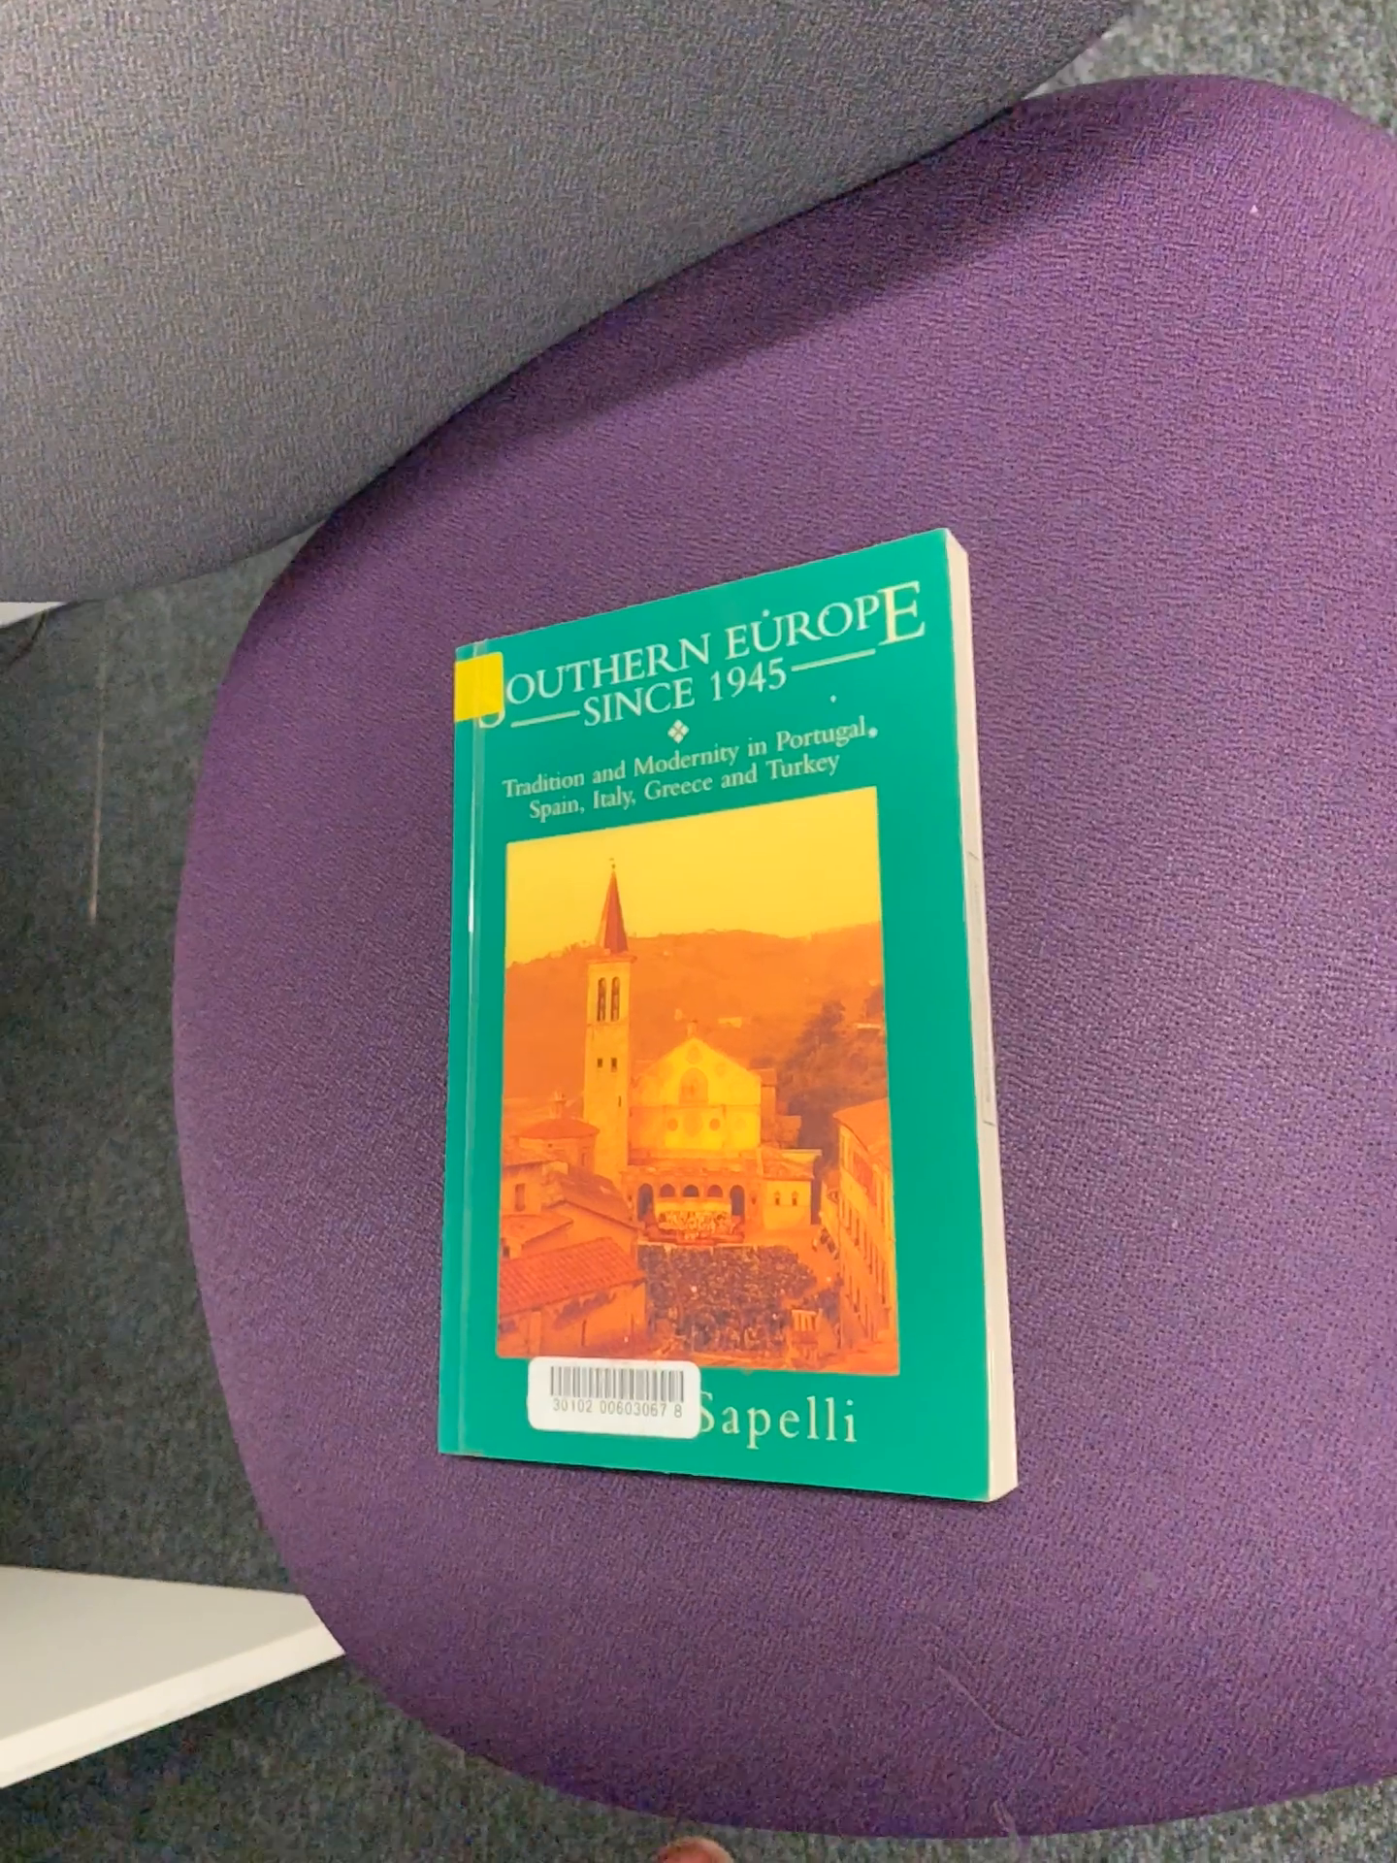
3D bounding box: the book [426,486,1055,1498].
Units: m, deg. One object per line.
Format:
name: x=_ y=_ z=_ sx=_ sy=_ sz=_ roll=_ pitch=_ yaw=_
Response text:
book: x=0.002 y=0.015 z=0.355 sx=0.154 sy=0.020 sz=0.221 roll=-7 pitch=78 yaw=28
